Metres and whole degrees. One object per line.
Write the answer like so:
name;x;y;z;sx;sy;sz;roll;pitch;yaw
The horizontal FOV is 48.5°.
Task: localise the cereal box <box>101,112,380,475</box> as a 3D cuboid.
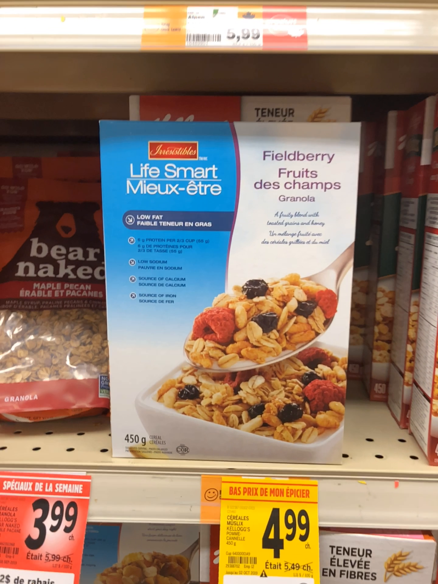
cereal box;0.012;0.002;0.344;0.170;0.239;0.050;1;11;3
